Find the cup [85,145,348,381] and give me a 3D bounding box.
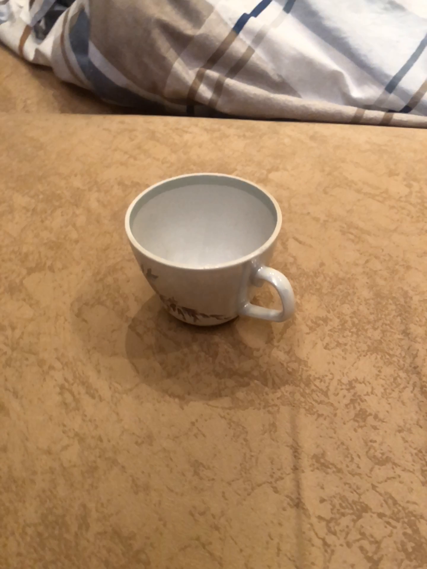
[{"bbox_3d":[0.001,-0.020,0.278,0.110,0.060,0.090,31,53,29],"label":"cup"}]
